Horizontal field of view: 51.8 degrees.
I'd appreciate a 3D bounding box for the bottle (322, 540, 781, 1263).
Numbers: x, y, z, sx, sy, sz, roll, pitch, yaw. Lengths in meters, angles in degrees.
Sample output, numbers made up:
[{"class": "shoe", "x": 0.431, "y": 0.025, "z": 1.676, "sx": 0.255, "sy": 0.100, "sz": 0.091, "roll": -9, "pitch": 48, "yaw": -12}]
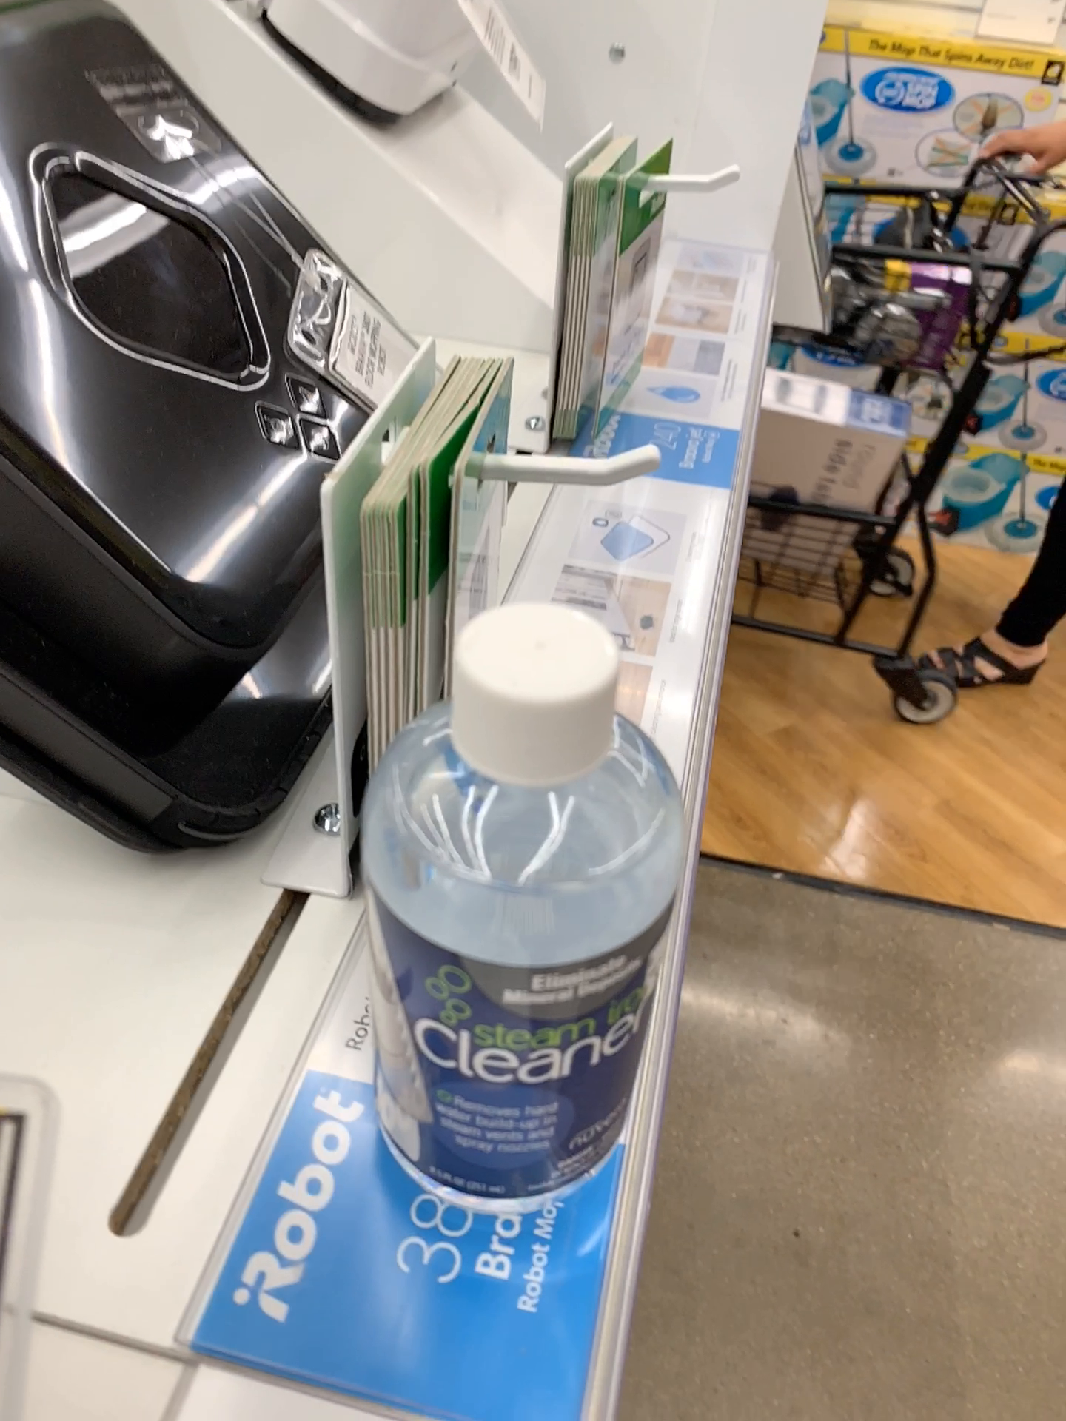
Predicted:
[{"class": "bottle", "x": -0.006, "y": 0.040, "z": 0.210, "sx": 0.060, "sy": 0.129, "sz": 0.060, "roll": 4, "pitch": 39, "yaw": -3}]
